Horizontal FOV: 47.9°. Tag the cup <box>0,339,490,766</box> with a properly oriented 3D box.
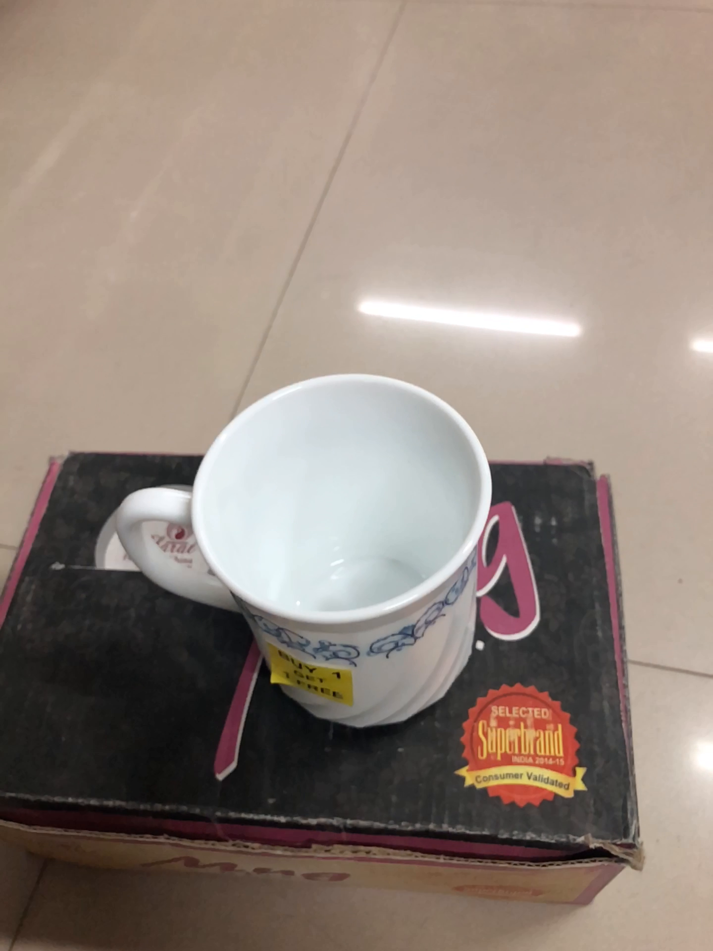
[{"bbox_3d":[-0.023,0.024,0.250,0.120,0.090,0.090,4,55,8],"label":"cup"}]
